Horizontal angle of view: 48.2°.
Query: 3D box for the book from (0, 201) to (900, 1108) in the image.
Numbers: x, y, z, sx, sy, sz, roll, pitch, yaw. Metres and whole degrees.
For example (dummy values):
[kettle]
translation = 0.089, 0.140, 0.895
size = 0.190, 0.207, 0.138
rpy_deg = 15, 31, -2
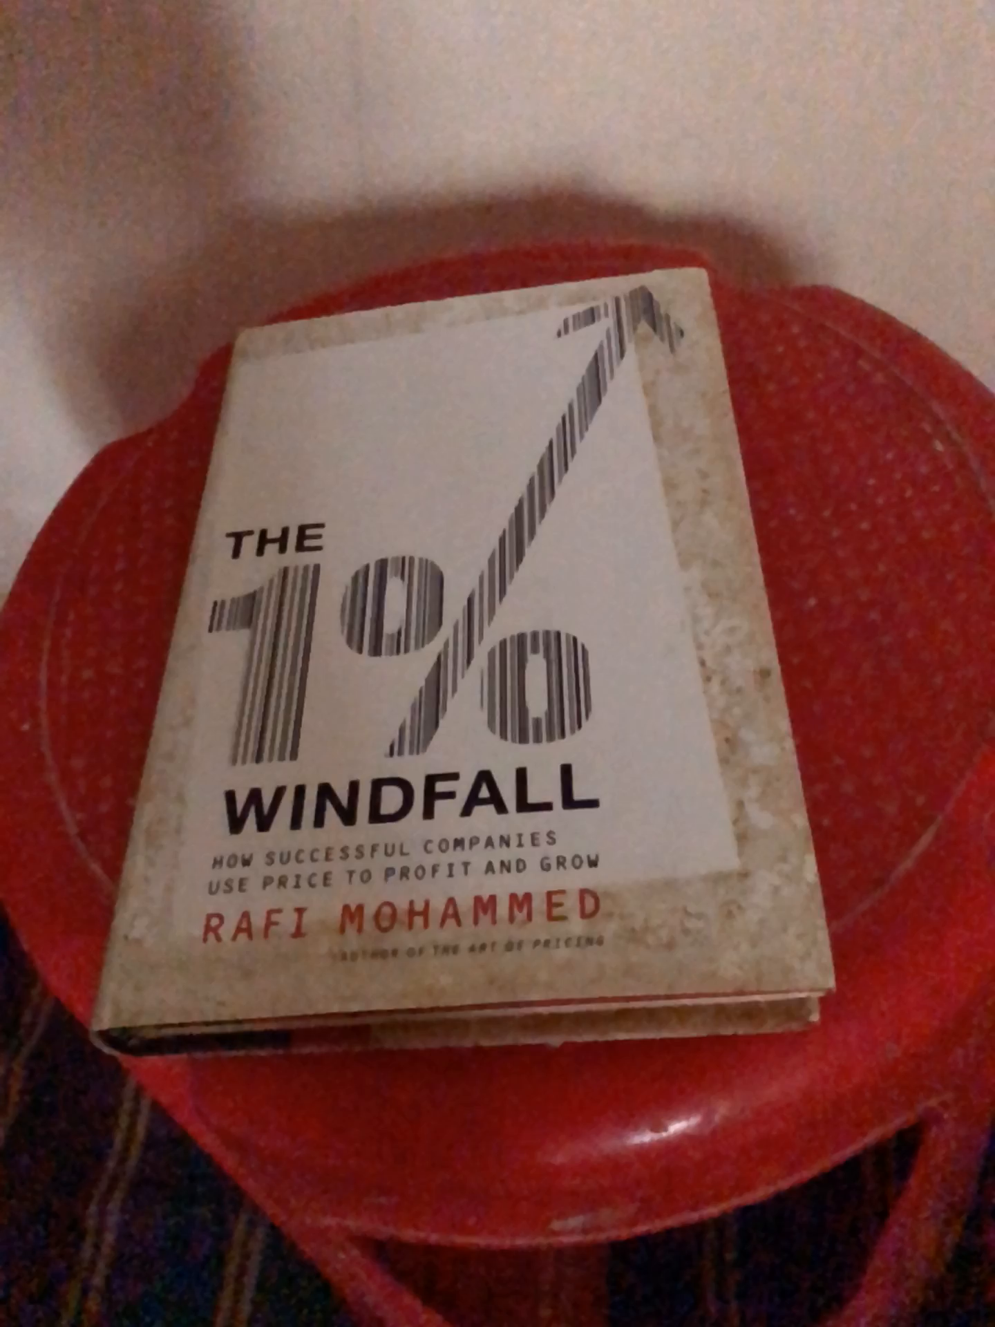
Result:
[book]
translation = -0.013, -0.023, 0.307
size = 0.180, 0.040, 0.261
rpy_deg = -5, 54, 7
